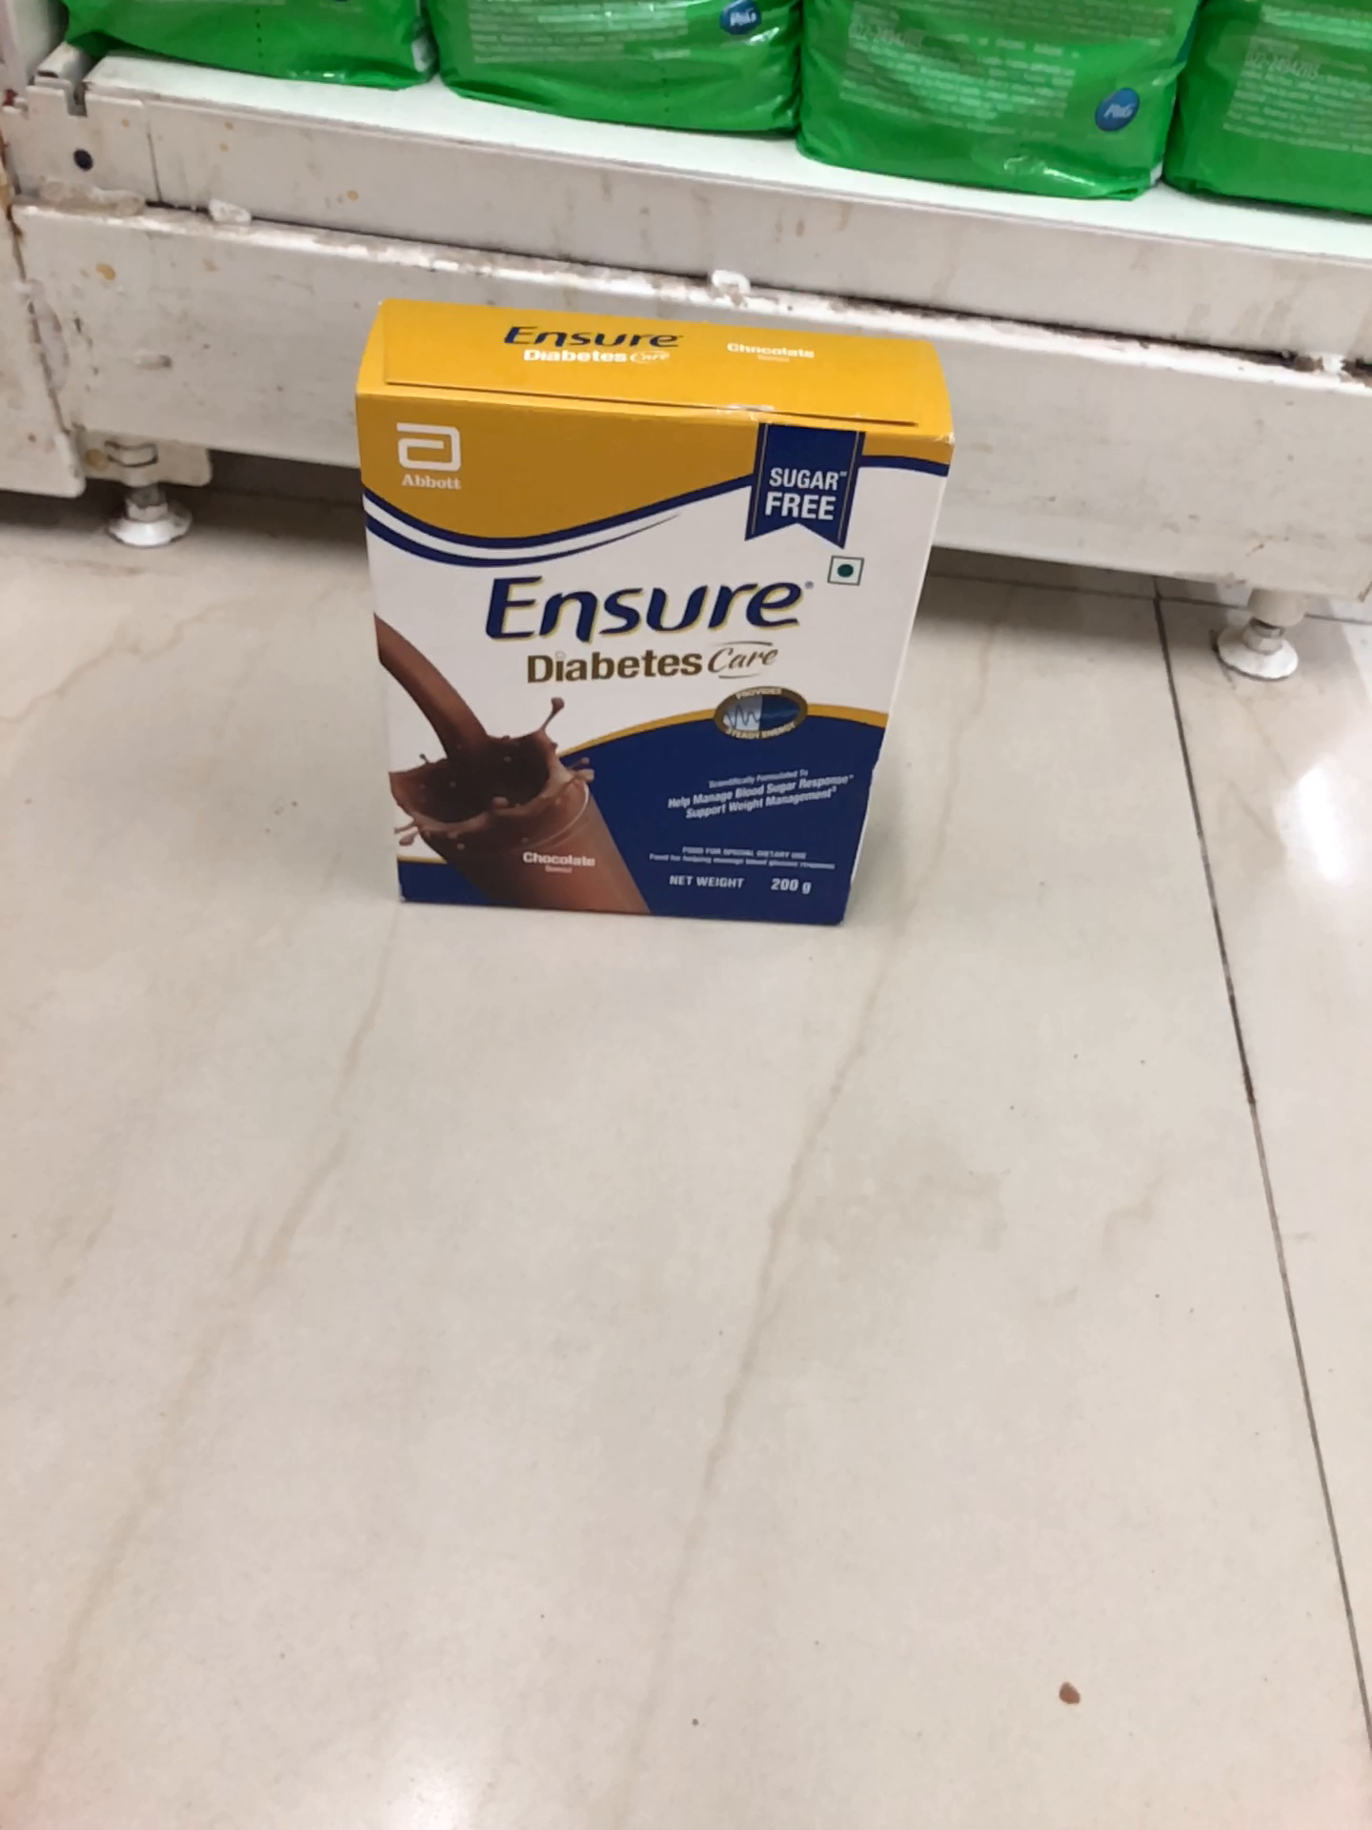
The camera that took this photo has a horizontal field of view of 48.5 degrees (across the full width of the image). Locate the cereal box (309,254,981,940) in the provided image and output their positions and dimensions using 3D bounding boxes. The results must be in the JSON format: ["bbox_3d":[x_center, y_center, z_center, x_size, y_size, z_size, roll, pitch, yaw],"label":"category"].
[{"bbox_3d":[-0.014,-0.072,0.396,0.140,0.169,0.050,4,49,-3],"label":"cereal box"}]
